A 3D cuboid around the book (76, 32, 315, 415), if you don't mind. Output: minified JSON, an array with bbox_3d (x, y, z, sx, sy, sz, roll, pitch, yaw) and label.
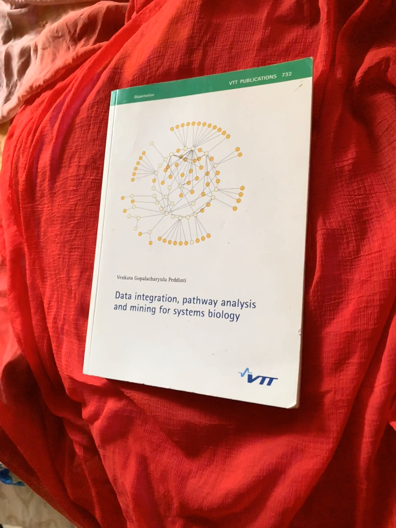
[{"bbox_3d":[-0.006,-0.036,0.329,0.180,0.020,0.270,1,82,25],"label":"book"}]
